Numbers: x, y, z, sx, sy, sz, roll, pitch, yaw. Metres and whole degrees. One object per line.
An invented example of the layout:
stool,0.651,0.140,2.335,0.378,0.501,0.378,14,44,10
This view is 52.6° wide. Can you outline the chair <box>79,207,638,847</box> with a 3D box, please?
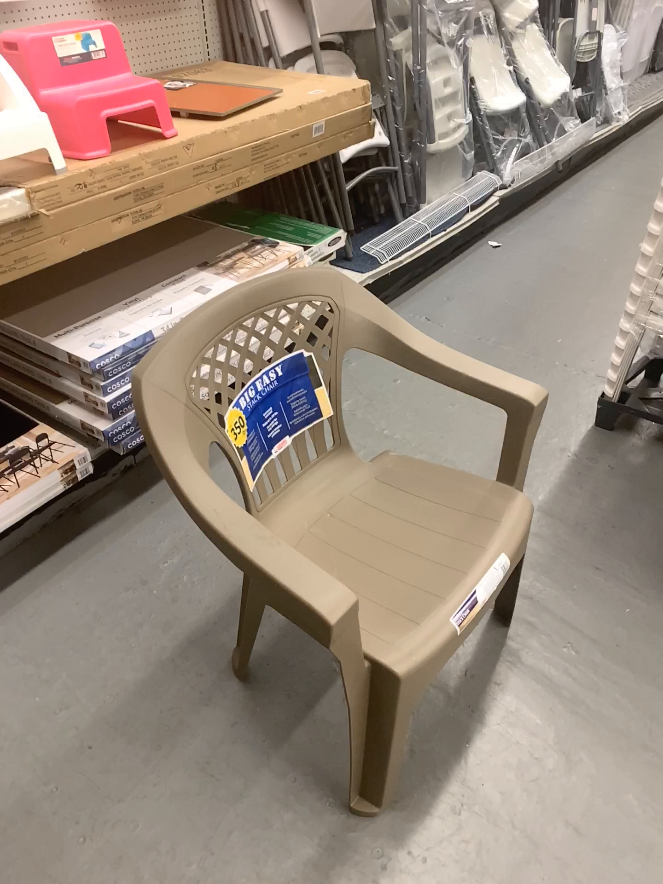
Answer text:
chair,0.090,0.120,1.383,0.588,0.878,0.769,25,45,30
